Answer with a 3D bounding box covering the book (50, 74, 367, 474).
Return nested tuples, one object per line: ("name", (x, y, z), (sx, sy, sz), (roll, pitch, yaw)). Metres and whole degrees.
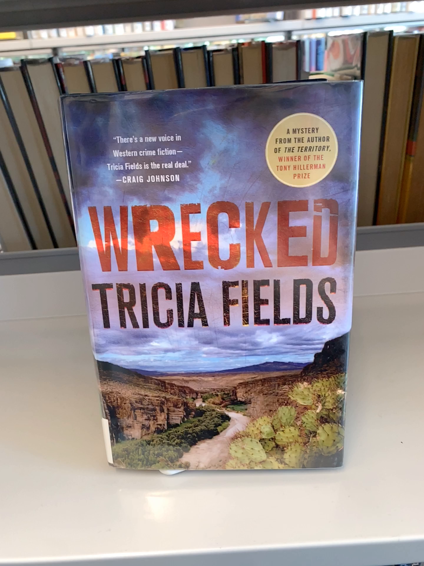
("book", (0.004, 0.006, 0.250), (0.146, 0.213, 0.035), (-3, 17, 3))
